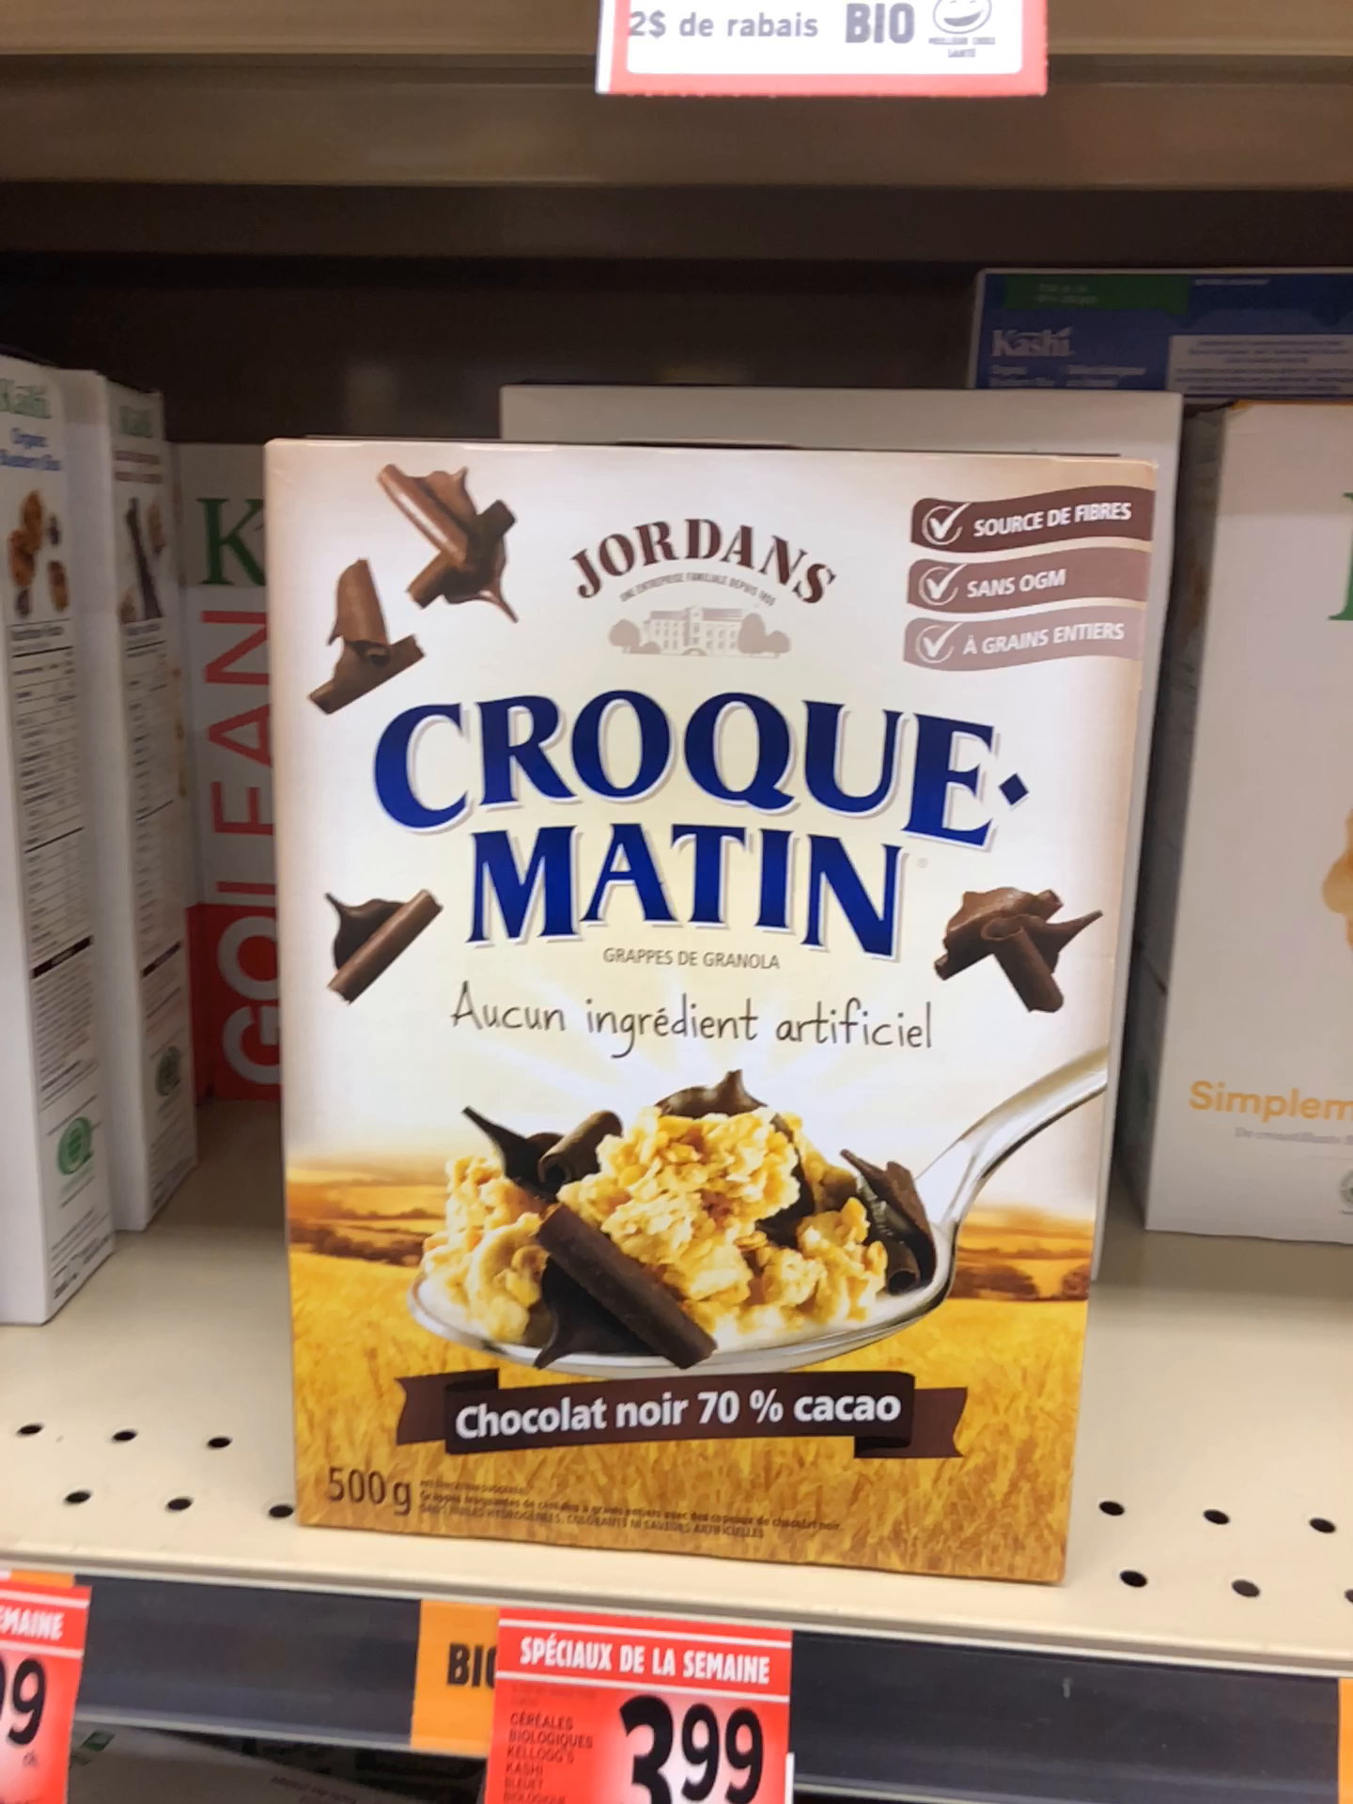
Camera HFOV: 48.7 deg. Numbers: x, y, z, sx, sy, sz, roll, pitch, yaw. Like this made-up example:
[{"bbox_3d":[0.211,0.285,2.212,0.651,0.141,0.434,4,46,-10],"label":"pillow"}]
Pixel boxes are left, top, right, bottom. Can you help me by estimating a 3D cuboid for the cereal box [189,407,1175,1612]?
[{"bbox_3d":[-0.003,0.024,0.335,0.190,0.249,0.050,2,11,4],"label":"cereal box"}]
